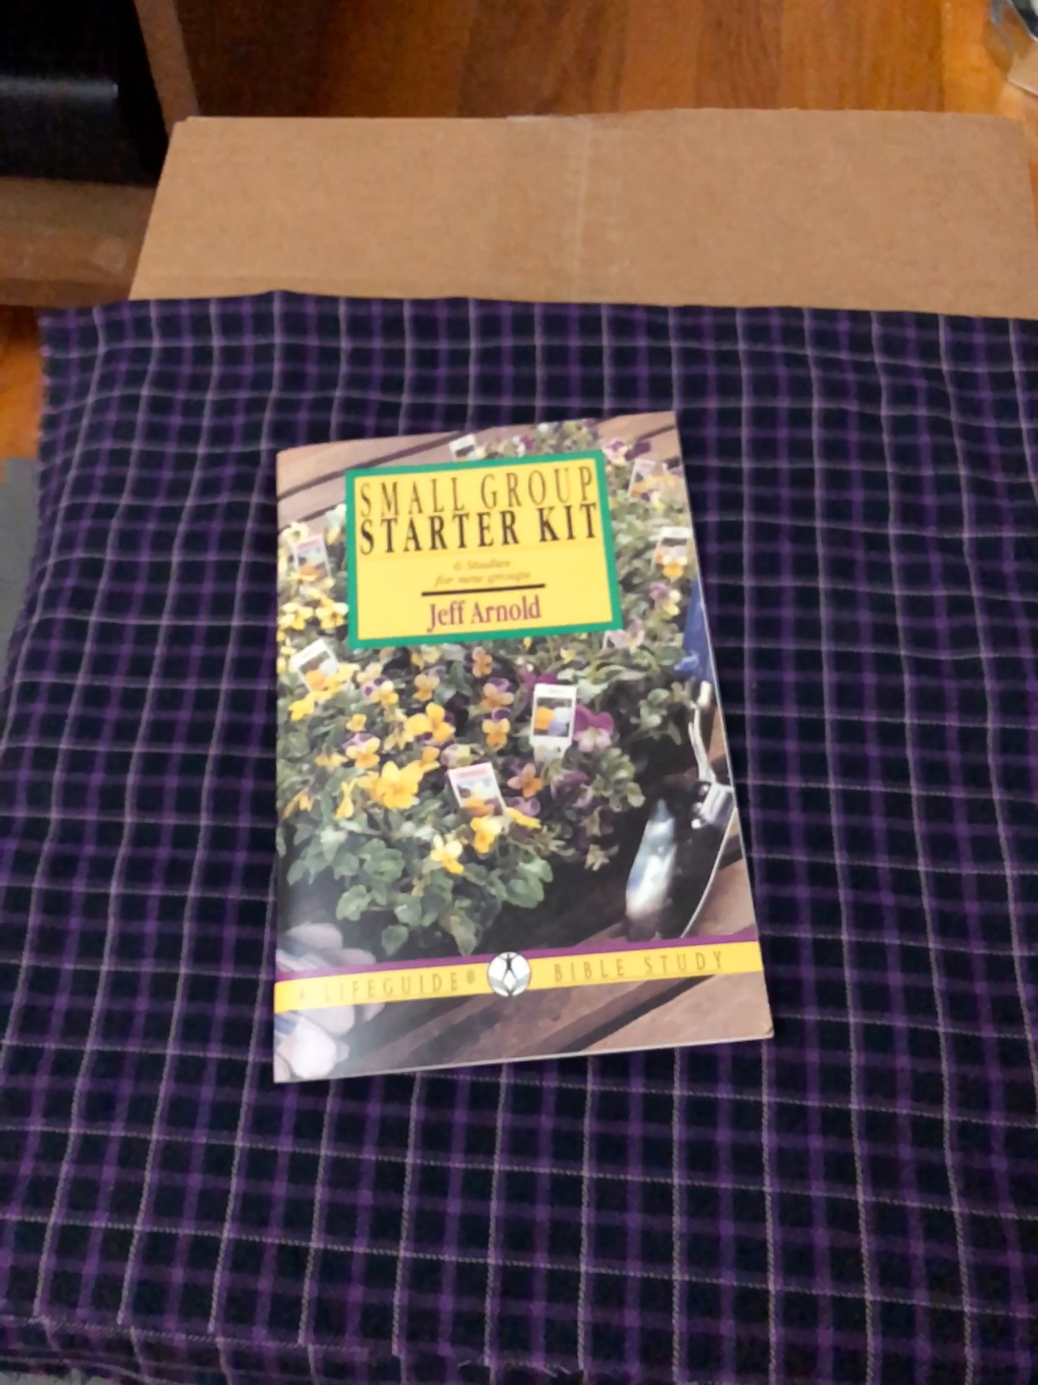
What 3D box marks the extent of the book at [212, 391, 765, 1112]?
[{"bbox_3d":[-0.017,0.007,0.359,0.150,0.010,0.221,-6,67,2],"label":"book"}]
